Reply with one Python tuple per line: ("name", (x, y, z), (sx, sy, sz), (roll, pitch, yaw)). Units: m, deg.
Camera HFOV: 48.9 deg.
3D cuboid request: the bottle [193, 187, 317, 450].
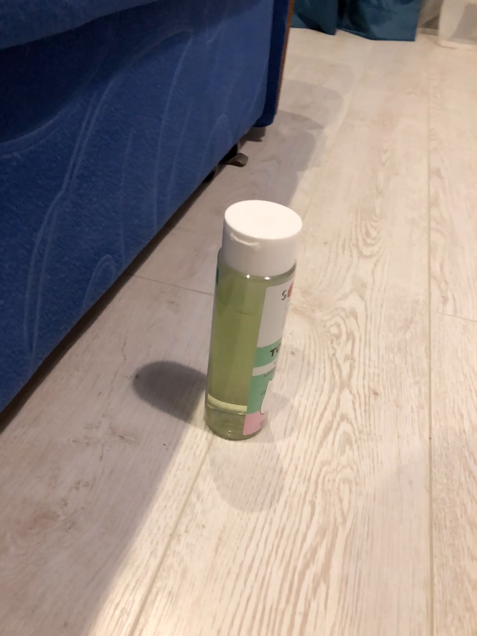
("bottle", (0.007, 0.007, 0.336), (0.053, 0.160, 0.057), (4, 38, -3))
